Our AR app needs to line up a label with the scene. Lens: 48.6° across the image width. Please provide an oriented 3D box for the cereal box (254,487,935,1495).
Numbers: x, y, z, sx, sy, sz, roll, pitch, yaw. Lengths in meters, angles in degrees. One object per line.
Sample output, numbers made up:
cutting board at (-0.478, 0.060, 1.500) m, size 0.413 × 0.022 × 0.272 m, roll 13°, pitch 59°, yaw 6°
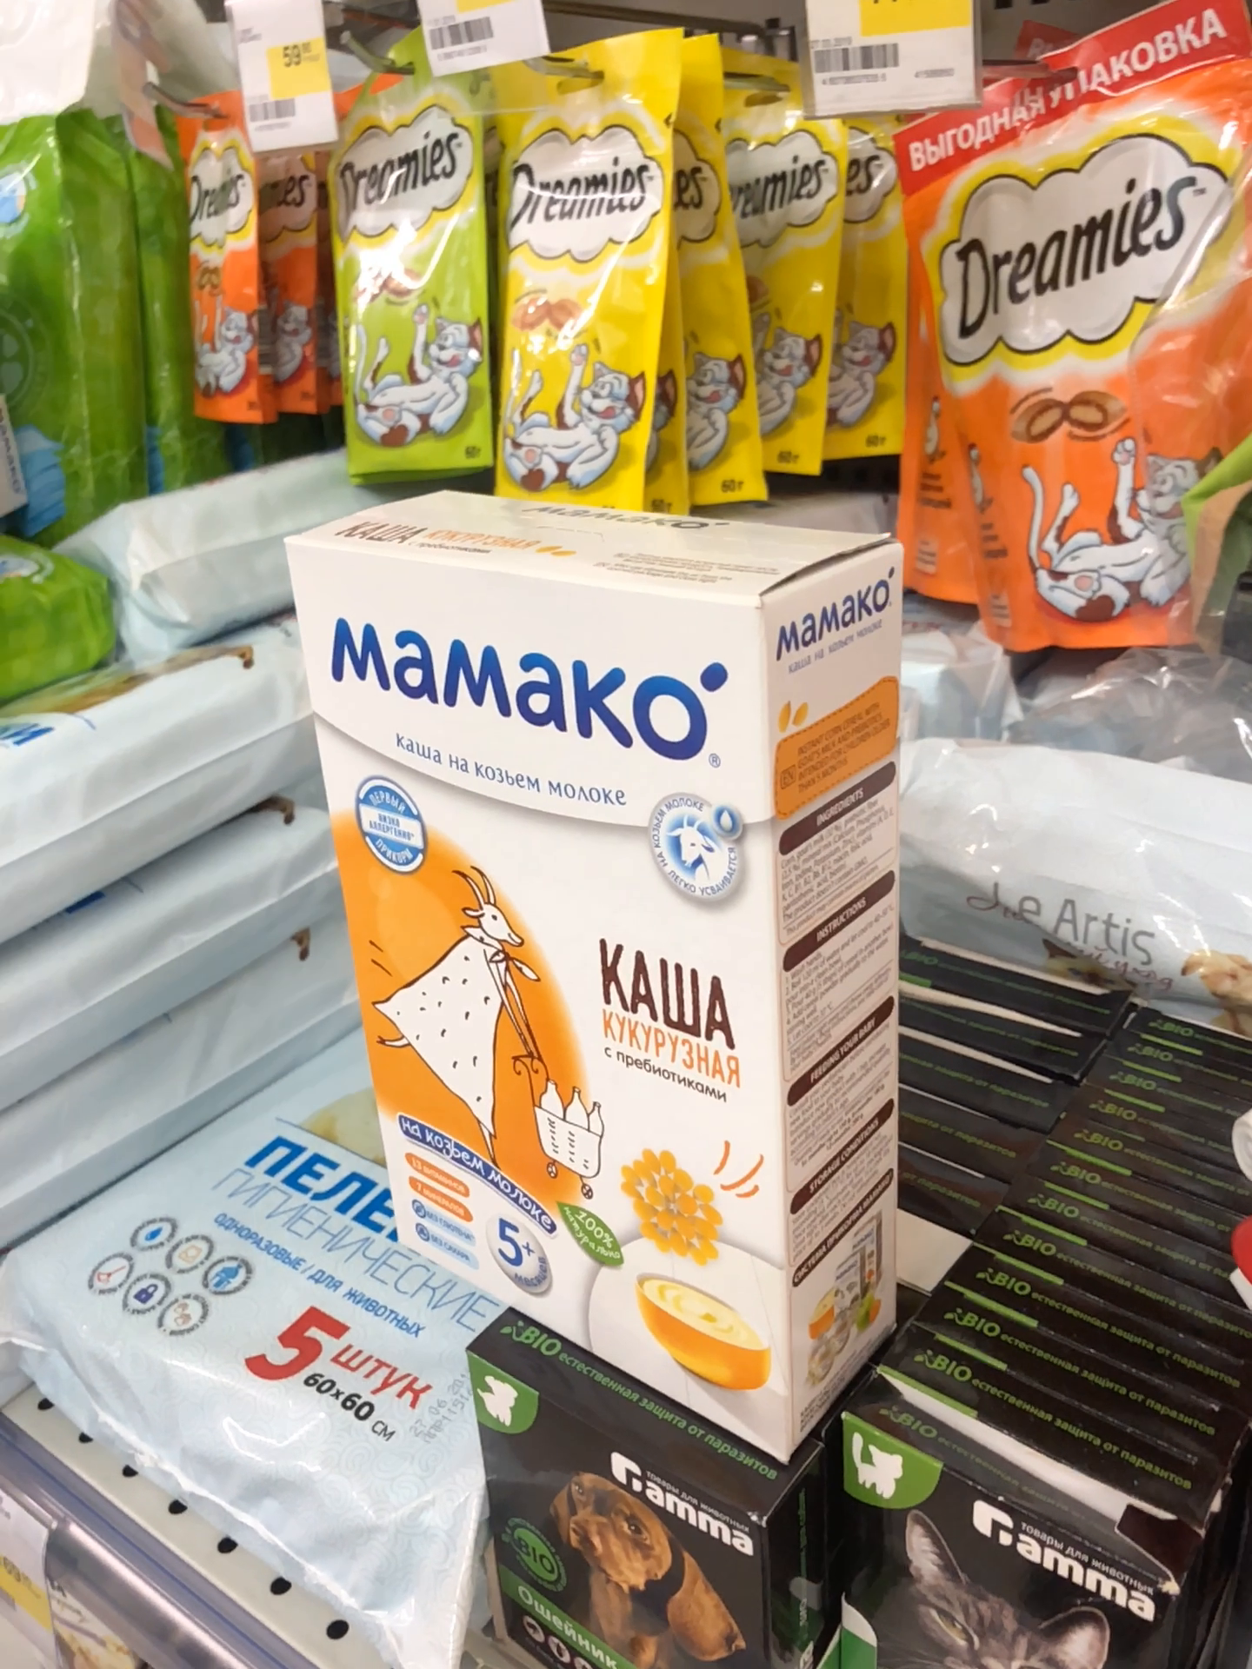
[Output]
cereal box at (-0.007, 0.029, 0.323) m, size 0.140 × 0.199 × 0.050 m, roll 16°, pitch 30°, yaw 36°
